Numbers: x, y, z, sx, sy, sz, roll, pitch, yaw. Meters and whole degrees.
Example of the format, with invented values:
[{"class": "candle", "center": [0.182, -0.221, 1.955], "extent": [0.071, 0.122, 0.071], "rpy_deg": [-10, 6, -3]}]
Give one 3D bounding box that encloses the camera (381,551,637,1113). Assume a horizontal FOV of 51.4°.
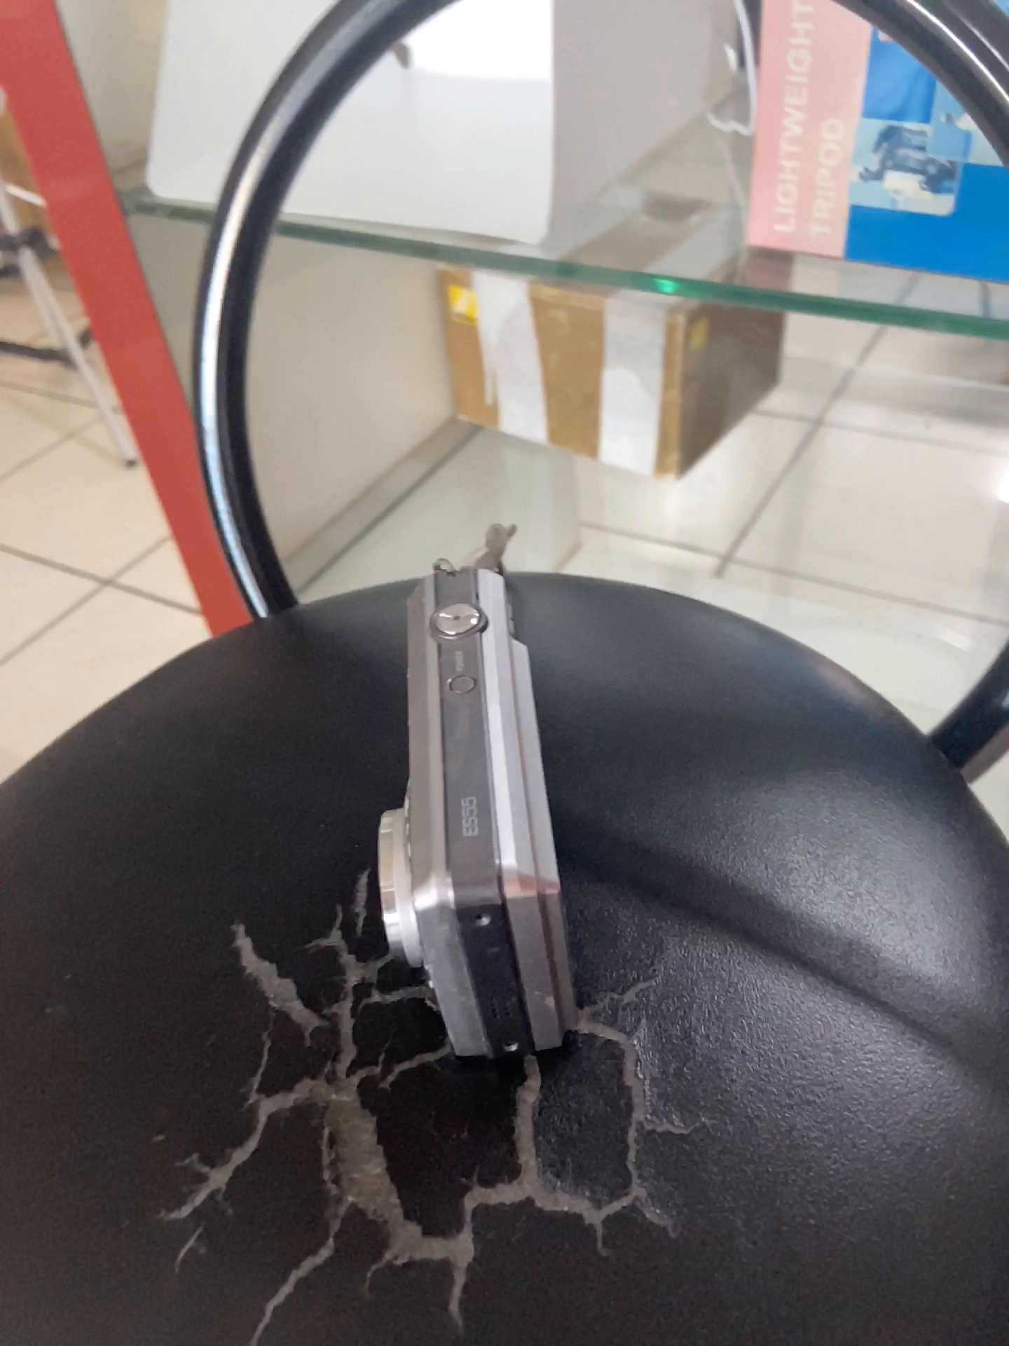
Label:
[{"class": "camera", "center": [0.001, 0.031, 0.222], "extent": [0.040, 0.070, 0.091], "rpy_deg": [-7, 41, 1]}]
